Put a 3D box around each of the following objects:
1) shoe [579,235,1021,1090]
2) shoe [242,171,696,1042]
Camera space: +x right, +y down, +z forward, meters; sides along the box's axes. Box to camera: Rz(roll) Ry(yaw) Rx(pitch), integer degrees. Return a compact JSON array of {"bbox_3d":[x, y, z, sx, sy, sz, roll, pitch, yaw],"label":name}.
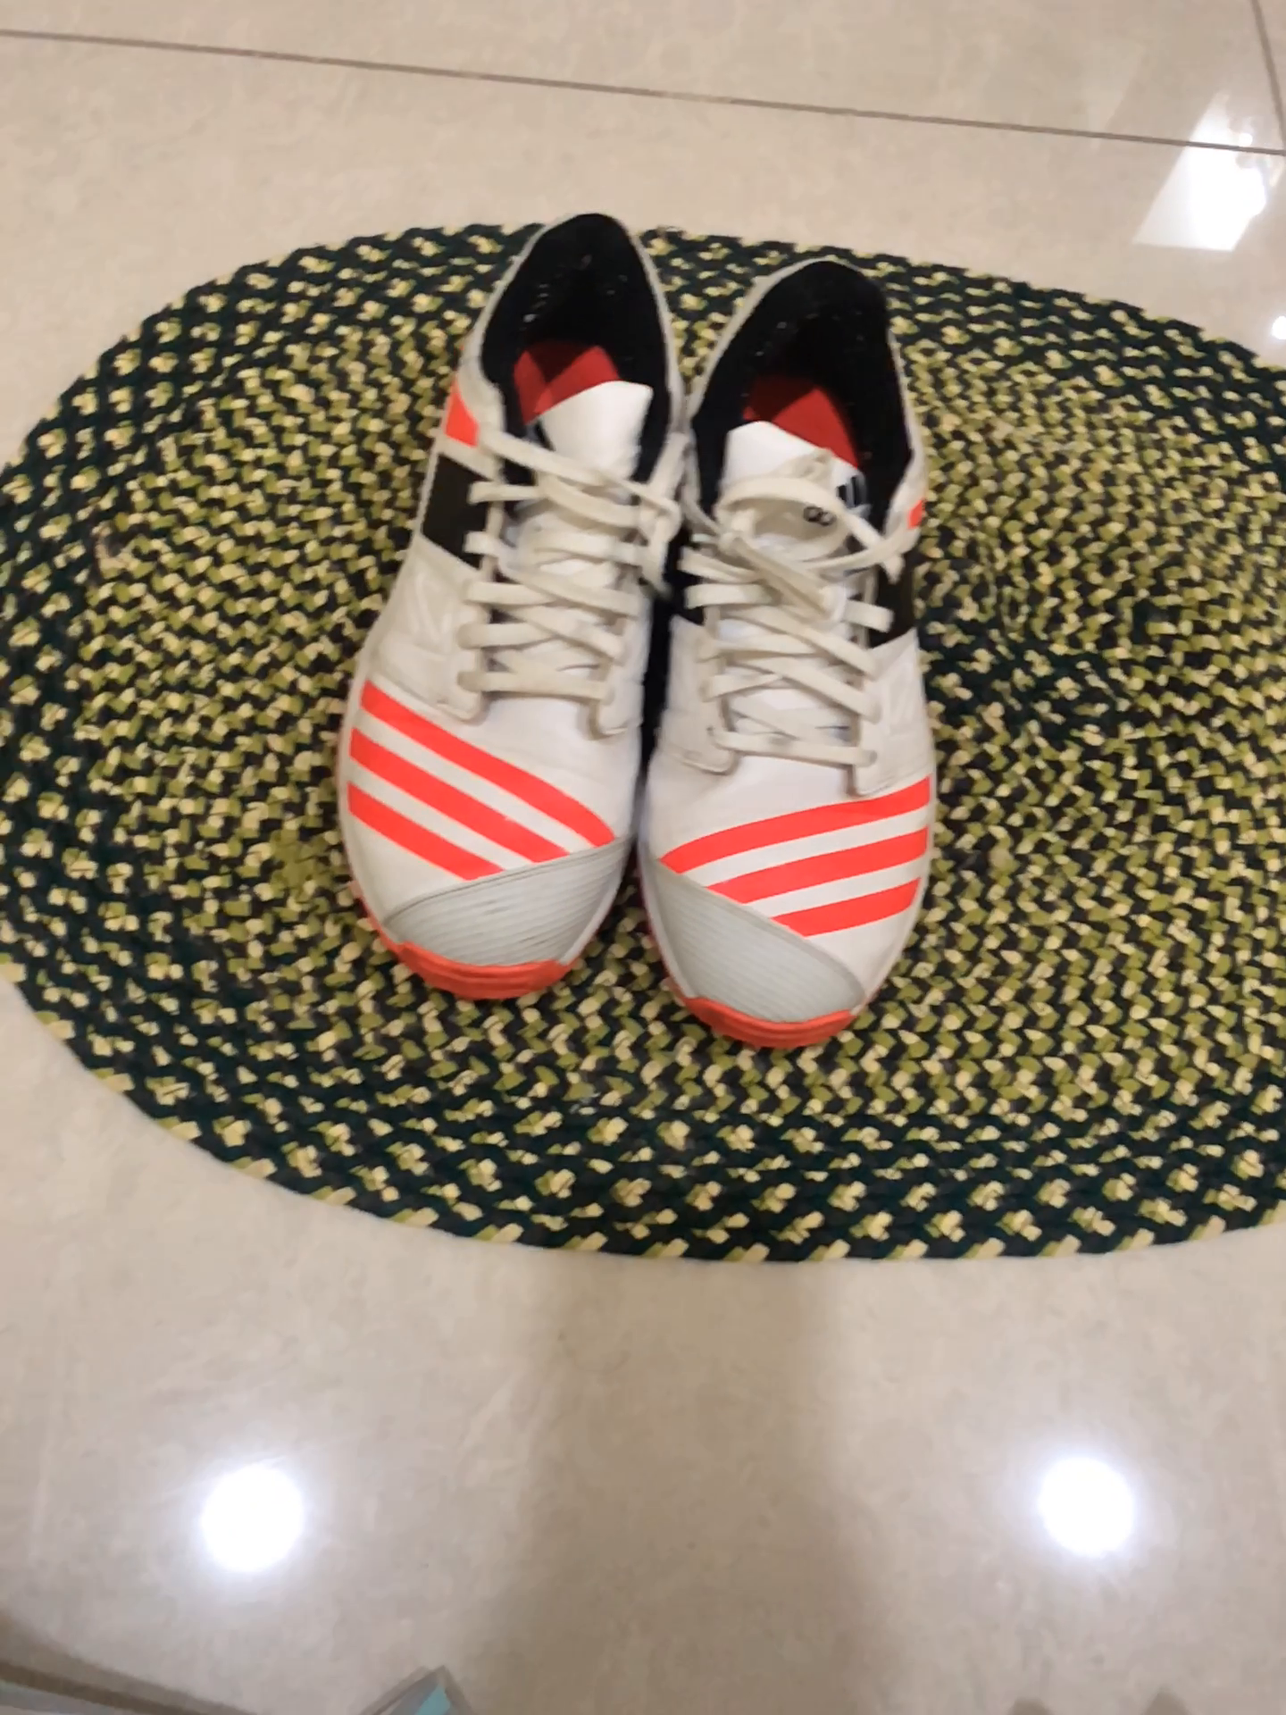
[{"bbox_3d":[0.052,-0.063,0.474,0.110,0.100,0.250,8,69,-4],"label":"shoe"},{"bbox_3d":[-0.051,-0.086,0.483,0.100,0.090,0.270,8,69,-4],"label":"shoe"}]
